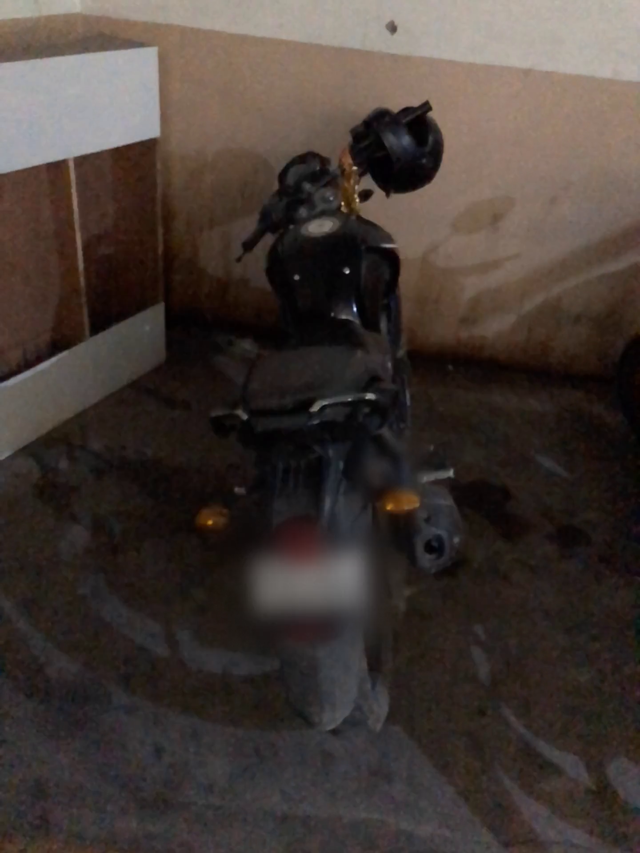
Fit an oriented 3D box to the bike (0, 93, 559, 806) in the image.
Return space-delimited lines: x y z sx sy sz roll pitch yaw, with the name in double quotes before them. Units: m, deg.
"bike" -0.080 -0.131 1.959 0.717 1.179 1.712 5 33 -1
